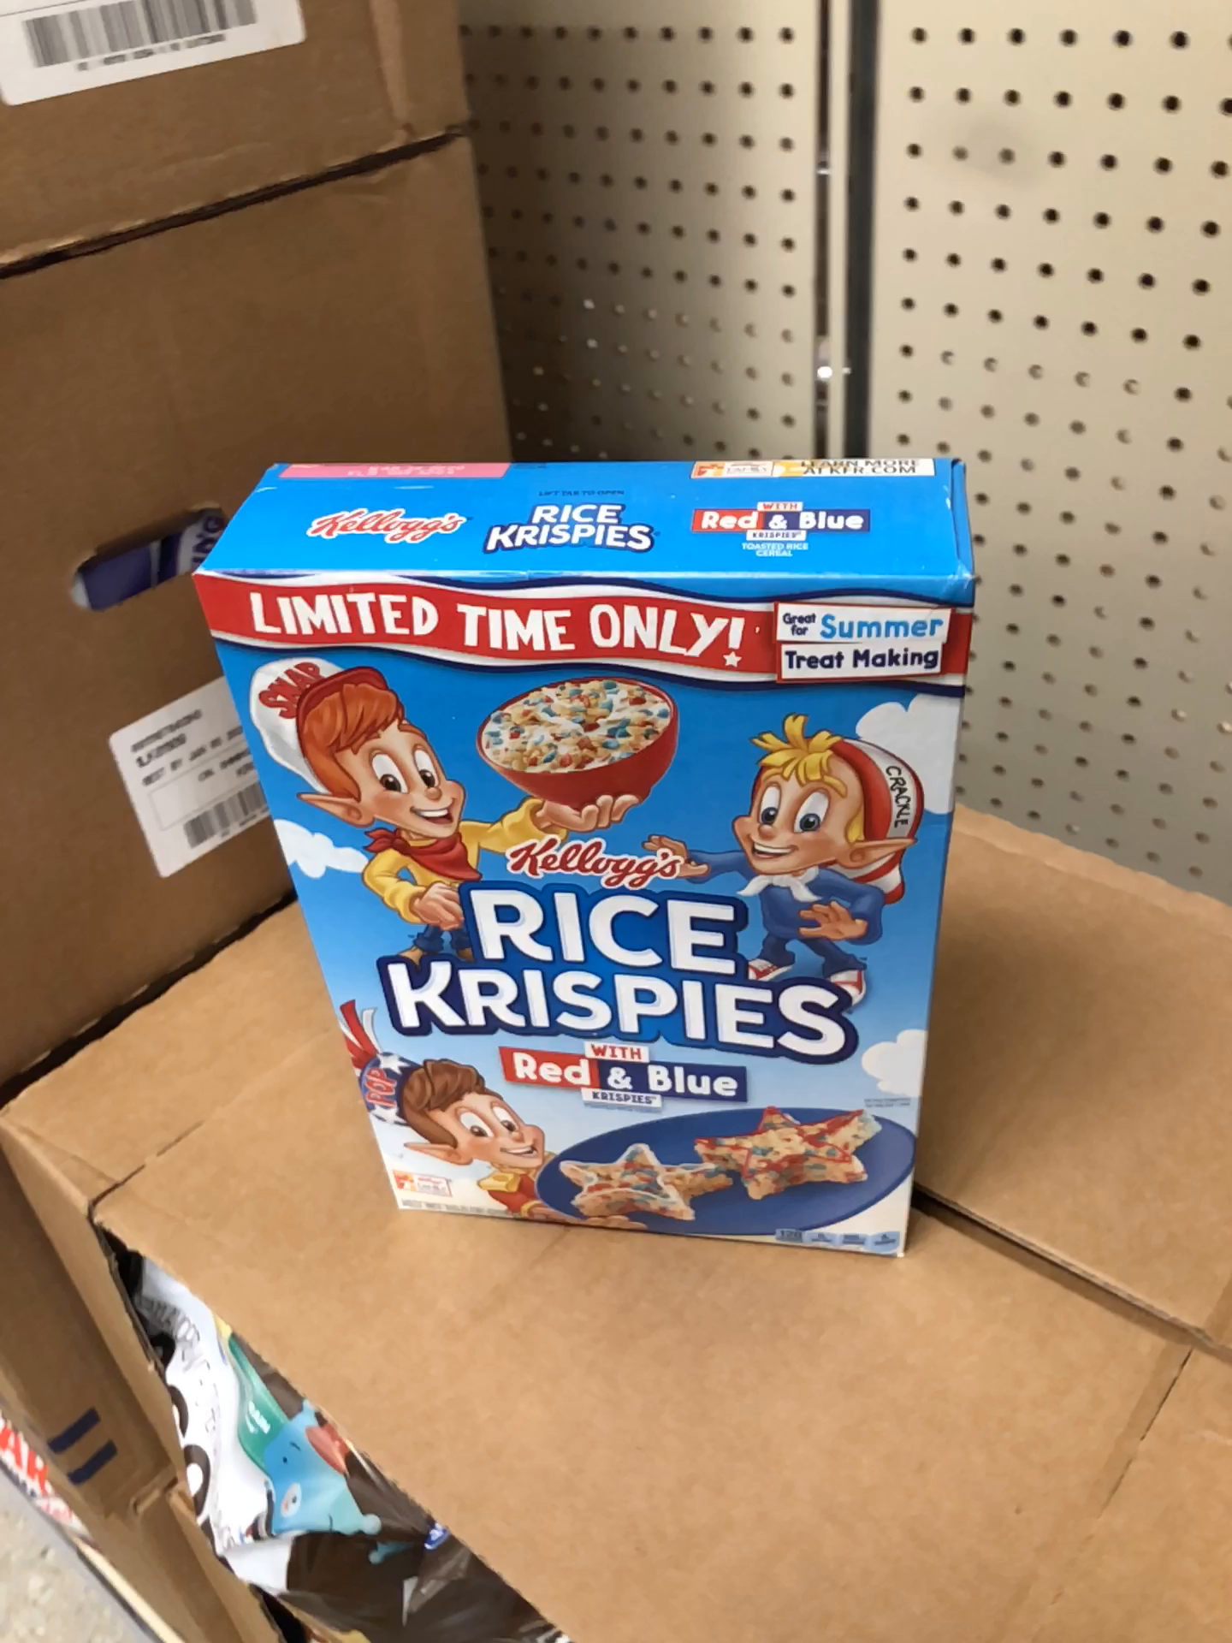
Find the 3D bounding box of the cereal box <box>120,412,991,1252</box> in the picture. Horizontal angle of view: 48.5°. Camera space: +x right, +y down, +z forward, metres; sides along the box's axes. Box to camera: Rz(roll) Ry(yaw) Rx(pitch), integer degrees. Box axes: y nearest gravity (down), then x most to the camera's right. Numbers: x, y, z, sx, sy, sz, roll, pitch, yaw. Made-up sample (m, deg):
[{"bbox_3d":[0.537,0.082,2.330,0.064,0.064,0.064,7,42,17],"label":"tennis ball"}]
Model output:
[{"bbox_3d":[-0.001,0.021,0.420,0.200,0.279,0.060,2,43,11],"label":"cereal box"}]
